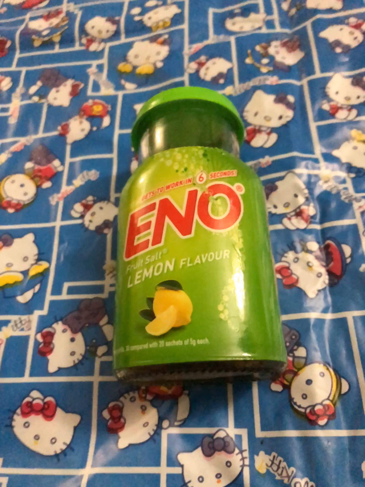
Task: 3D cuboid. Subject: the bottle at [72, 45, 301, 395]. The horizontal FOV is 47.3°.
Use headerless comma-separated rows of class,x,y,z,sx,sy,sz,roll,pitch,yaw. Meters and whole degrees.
bottle,0.002,-0.006,0.151,0.060,0.050,0.110,-6,68,8
